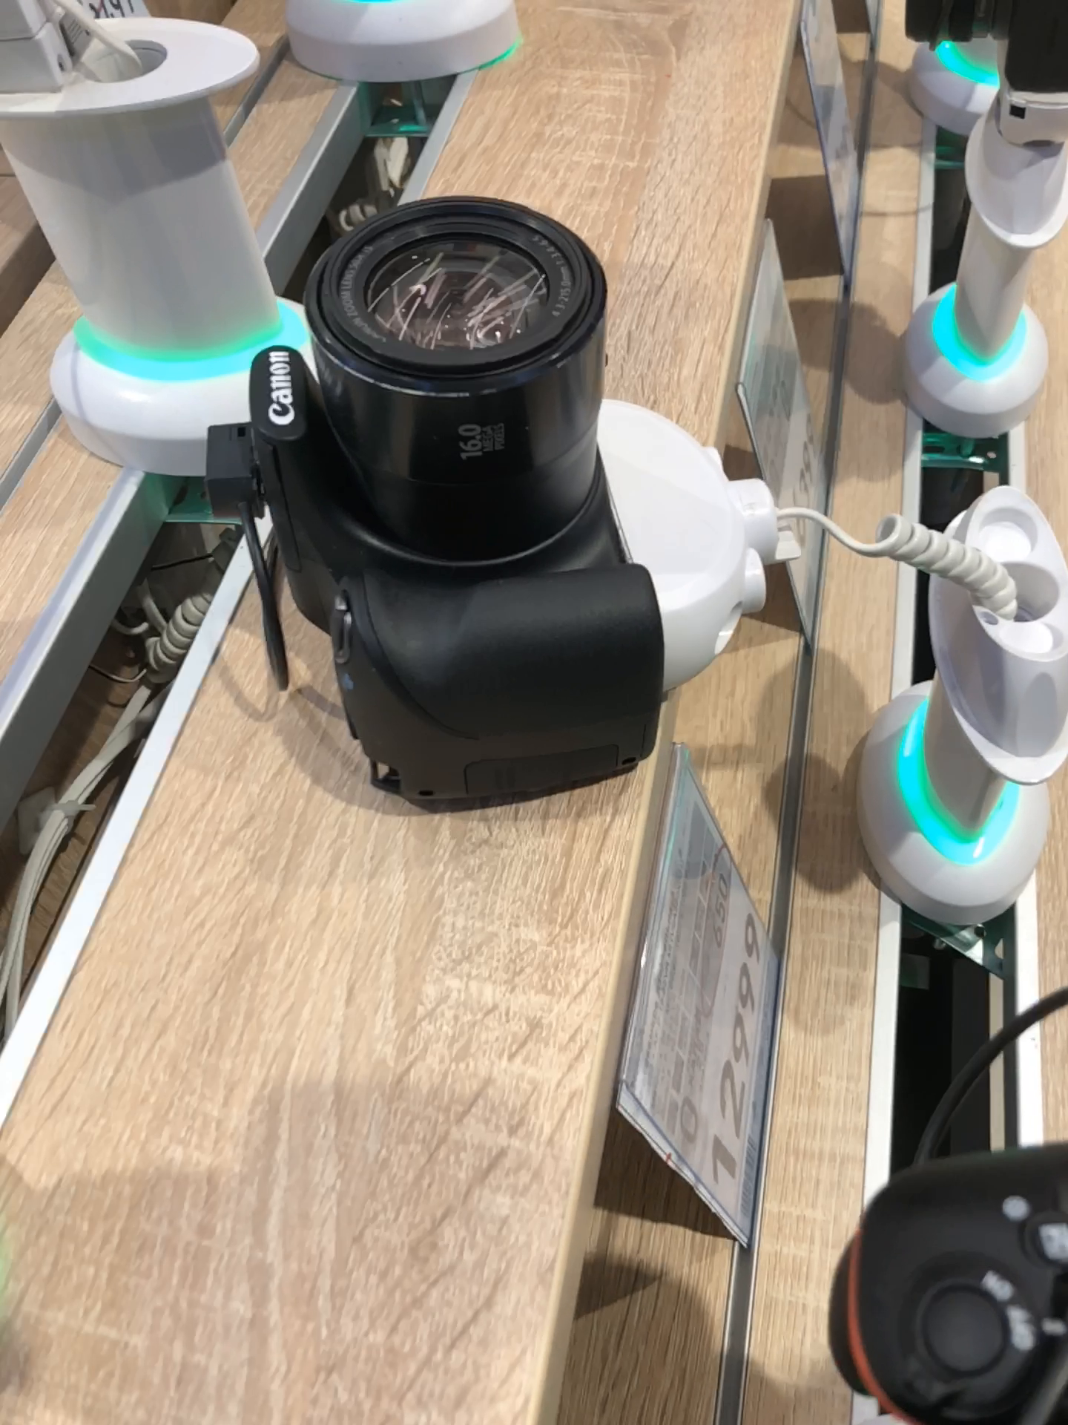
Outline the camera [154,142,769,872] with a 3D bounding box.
[{"bbox_3d":[-0.023,-0.051,0.278,0.106,0.090,0.134,-8,55,-6],"label":"camera"}]
